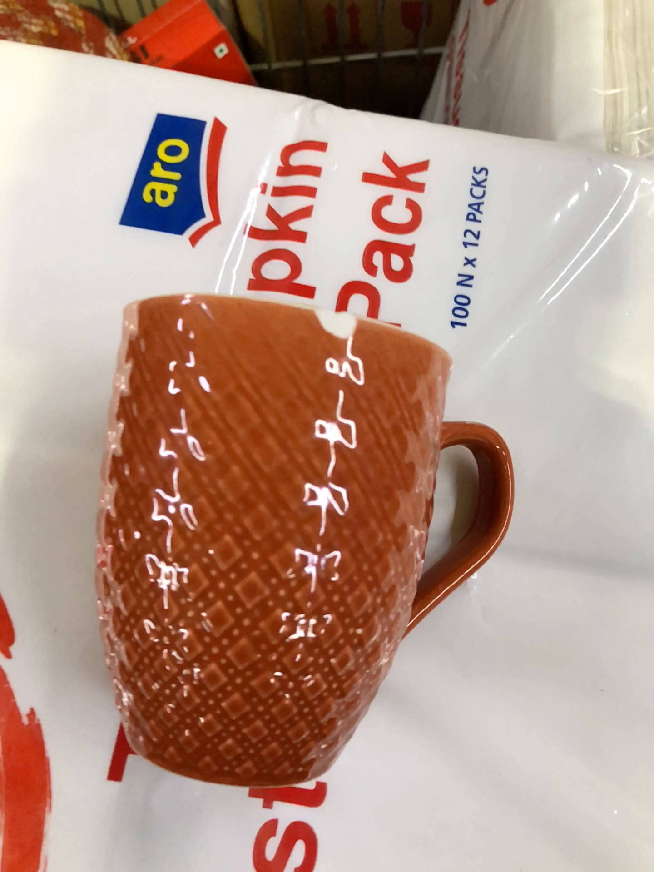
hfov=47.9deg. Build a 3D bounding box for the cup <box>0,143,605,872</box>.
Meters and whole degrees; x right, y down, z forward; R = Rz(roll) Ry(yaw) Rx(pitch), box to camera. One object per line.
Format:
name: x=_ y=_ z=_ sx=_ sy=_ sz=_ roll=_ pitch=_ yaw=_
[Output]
cup: x=-0.006 y=0.020 z=0.143 sx=0.070 sy=0.100 sz=0.090 roll=-4 pitch=73 yaw=48
